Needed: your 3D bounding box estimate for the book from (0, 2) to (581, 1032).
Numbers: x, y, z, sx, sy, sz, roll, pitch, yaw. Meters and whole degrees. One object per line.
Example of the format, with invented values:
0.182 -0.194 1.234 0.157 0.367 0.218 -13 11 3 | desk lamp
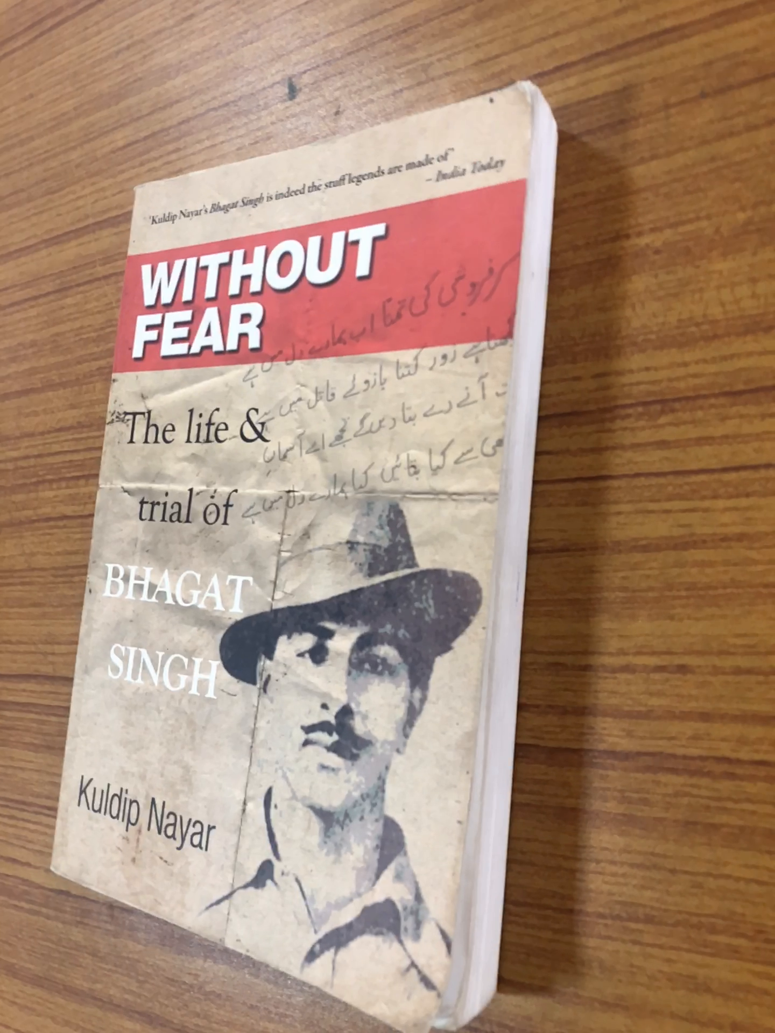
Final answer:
-0.032 -0.001 0.218 0.141 0.030 0.210 2 83 33 | book
